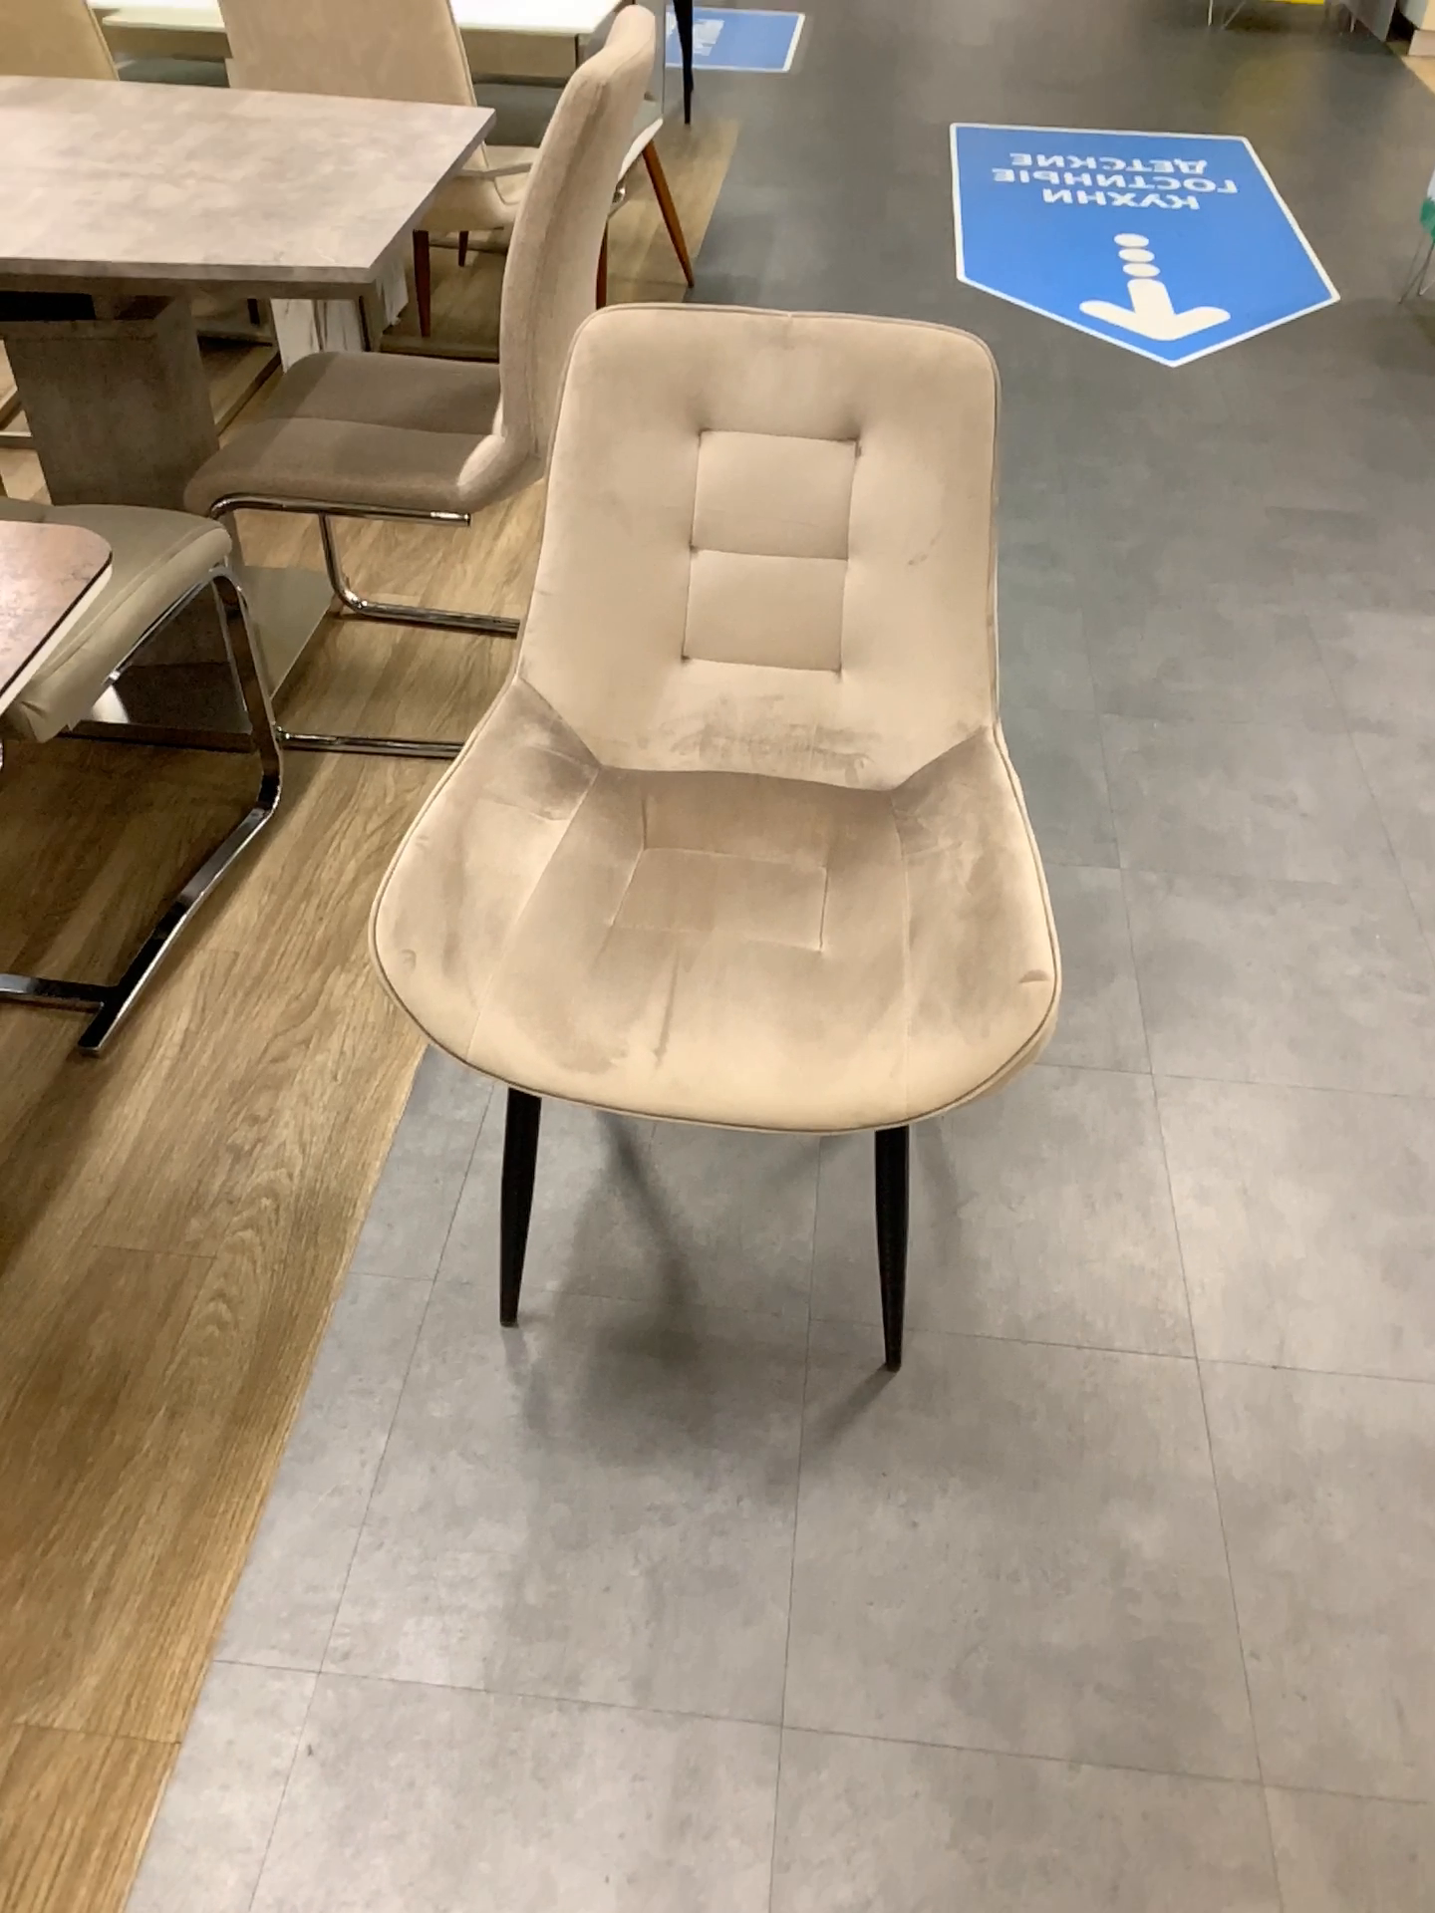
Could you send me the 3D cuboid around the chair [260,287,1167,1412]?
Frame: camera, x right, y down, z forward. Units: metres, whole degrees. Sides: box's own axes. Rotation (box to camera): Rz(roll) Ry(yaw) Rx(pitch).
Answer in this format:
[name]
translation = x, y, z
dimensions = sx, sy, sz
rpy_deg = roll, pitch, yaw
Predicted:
[chair]
translation = 0.025, -0.094, 1.405
dimensions = 0.566, 0.817, 0.613
rpy_deg = 6, 42, 5
